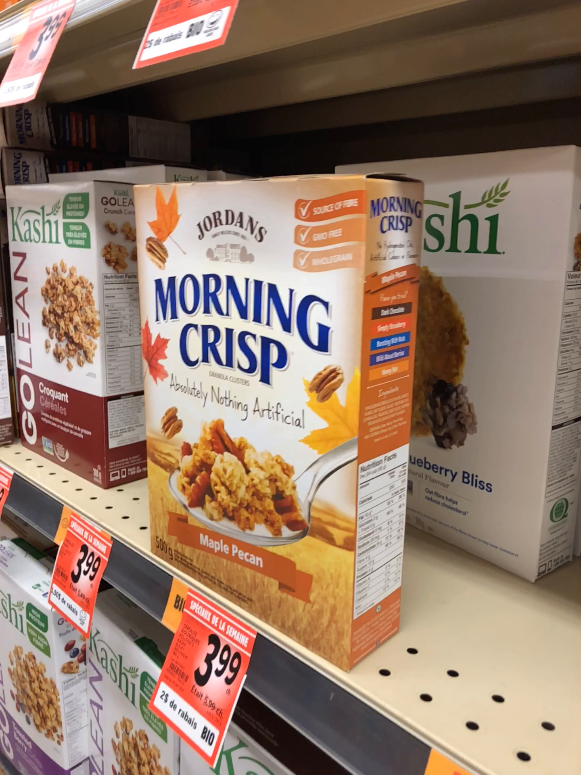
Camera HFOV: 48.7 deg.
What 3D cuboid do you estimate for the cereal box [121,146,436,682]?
[{"bbox_3d":[-0.020,0.002,0.378,0.191,0.259,0.050,15,20,42],"label":"cereal box"}]
